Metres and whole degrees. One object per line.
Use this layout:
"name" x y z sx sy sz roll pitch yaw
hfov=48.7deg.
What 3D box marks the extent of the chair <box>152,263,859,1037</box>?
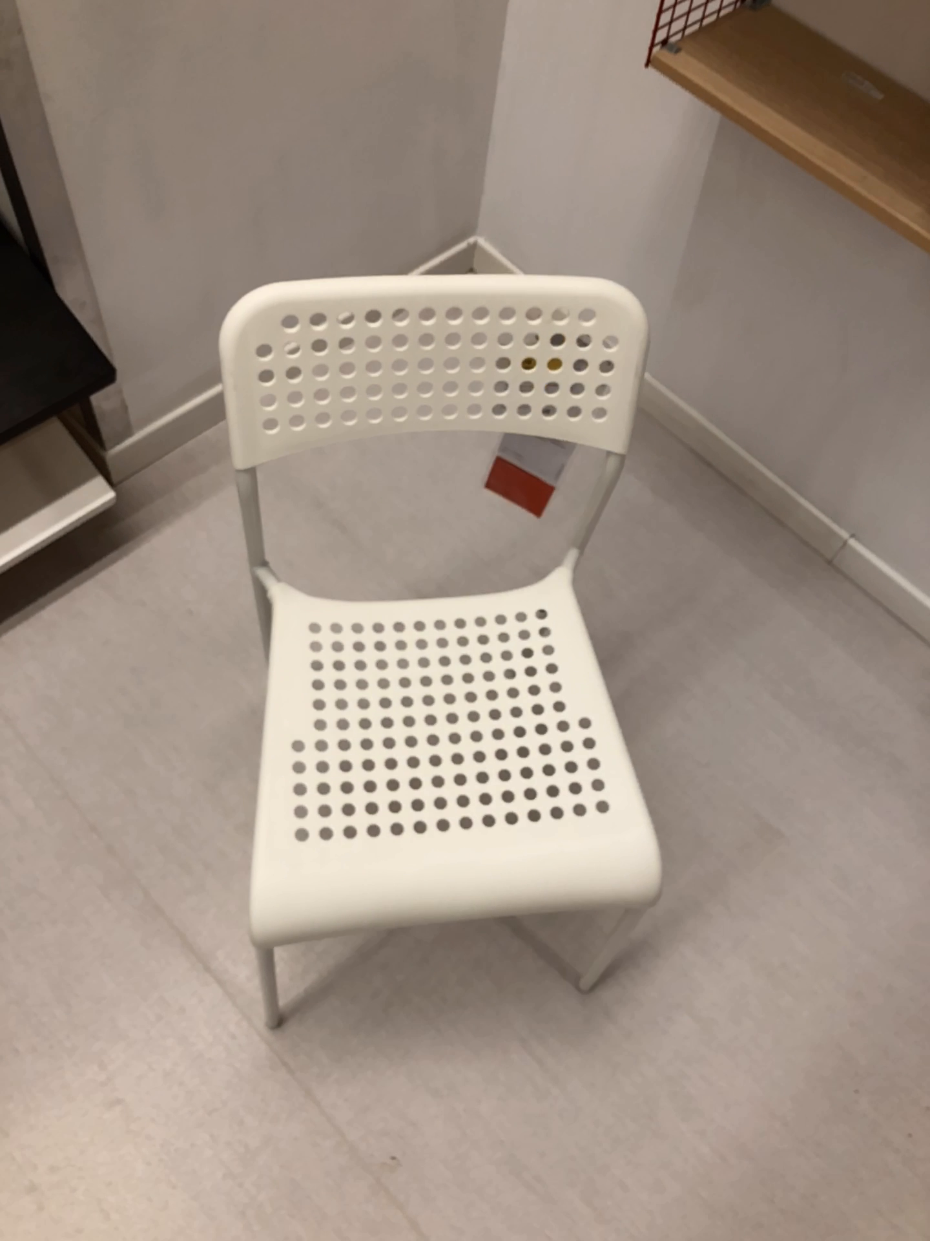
"chair" -0.026 0.097 1.035 0.420 0.737 0.472 -3 61 -8
